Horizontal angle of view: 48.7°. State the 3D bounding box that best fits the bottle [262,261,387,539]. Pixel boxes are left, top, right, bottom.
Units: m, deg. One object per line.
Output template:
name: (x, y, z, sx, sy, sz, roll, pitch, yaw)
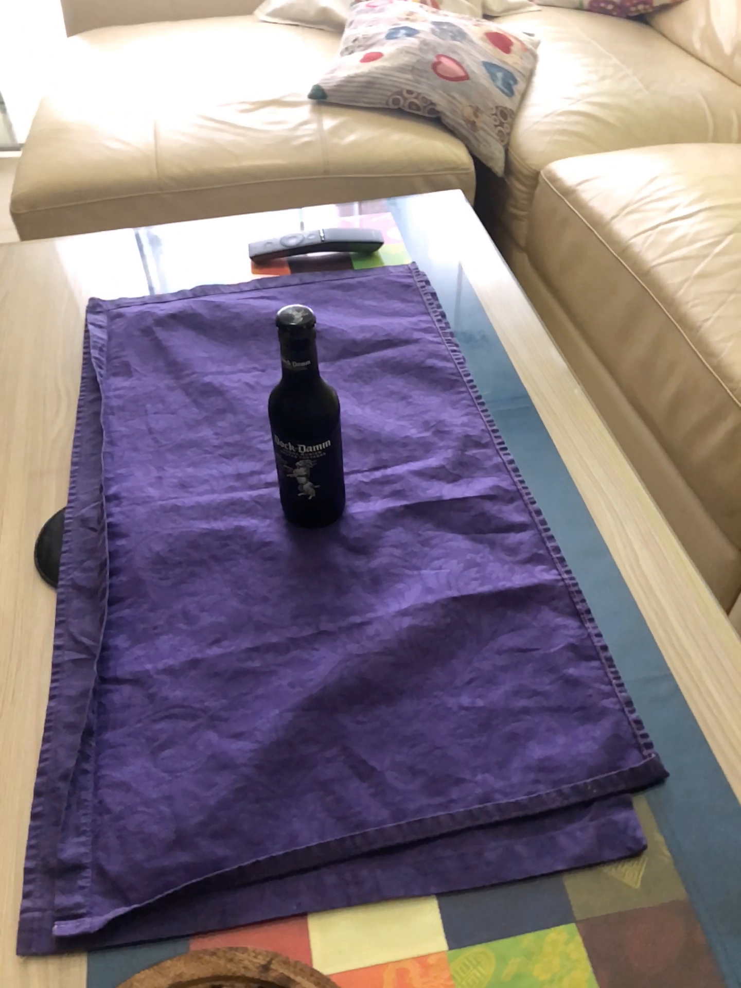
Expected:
bottle: (-0.027, -0.063, 0.609, 0.070, 0.199, 0.070, 0, 45, 1)
